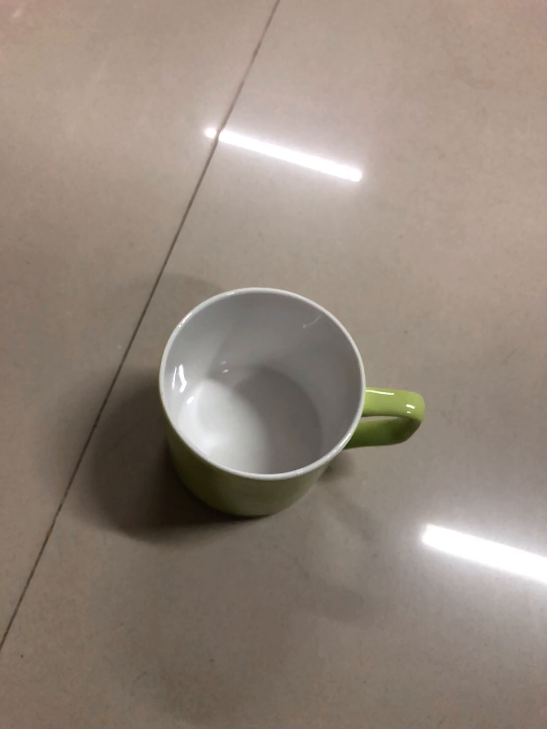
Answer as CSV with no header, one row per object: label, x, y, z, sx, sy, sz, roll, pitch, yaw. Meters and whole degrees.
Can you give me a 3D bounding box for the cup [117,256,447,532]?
cup,0.002,0.017,0.236,0.100,0.080,0.070,7,65,-4
